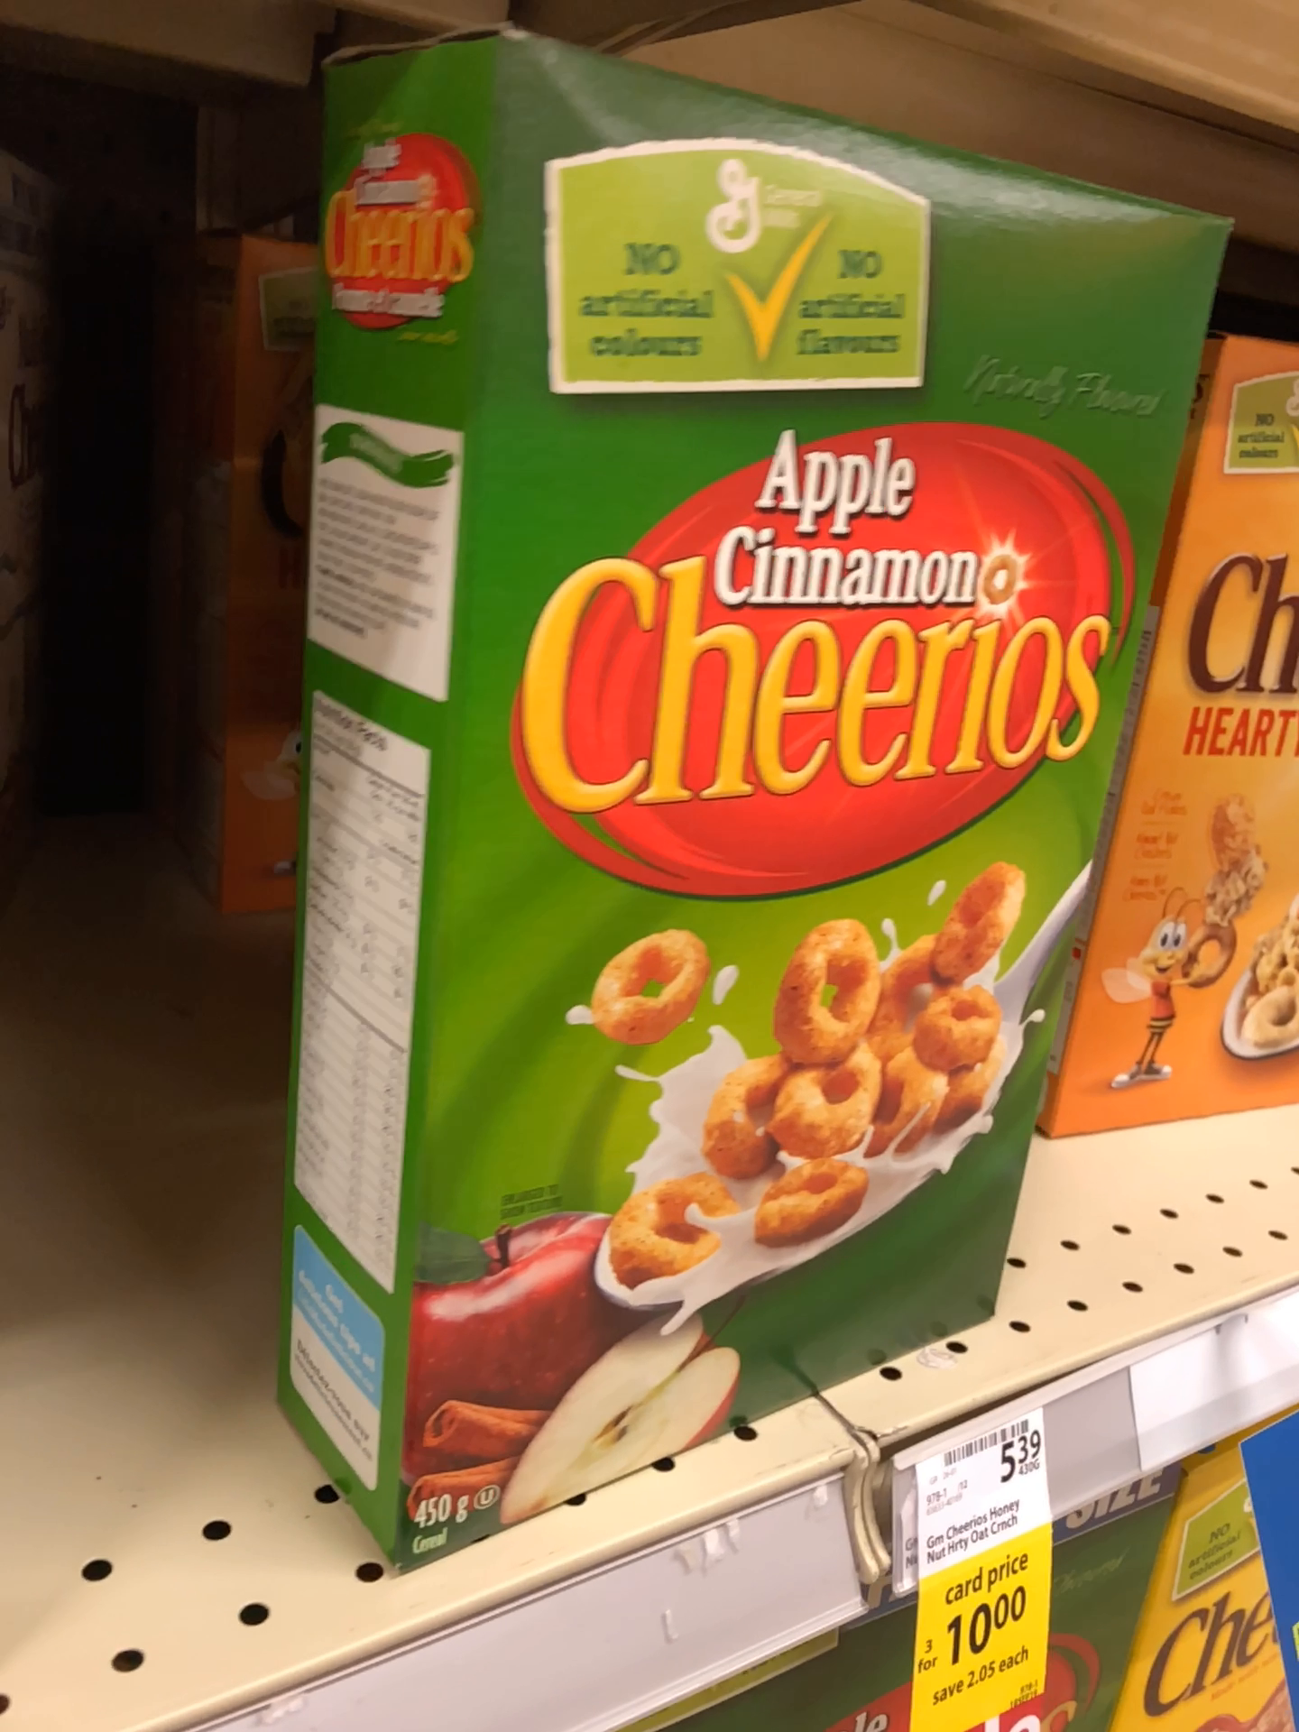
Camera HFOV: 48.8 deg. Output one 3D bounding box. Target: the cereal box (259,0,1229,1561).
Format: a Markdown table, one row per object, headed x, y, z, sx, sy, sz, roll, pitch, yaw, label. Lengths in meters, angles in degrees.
| x | y | z | sx | sy | sz | roll | pitch | yaw | label |
| --- | --- | --- | --- | --- | --- | --- | --- | --- | --- |
| 0.019 | -0.018 | 0.349 | 0.200 | 0.309 | 0.070 | -7 | 22 | -37 | cereal box |
